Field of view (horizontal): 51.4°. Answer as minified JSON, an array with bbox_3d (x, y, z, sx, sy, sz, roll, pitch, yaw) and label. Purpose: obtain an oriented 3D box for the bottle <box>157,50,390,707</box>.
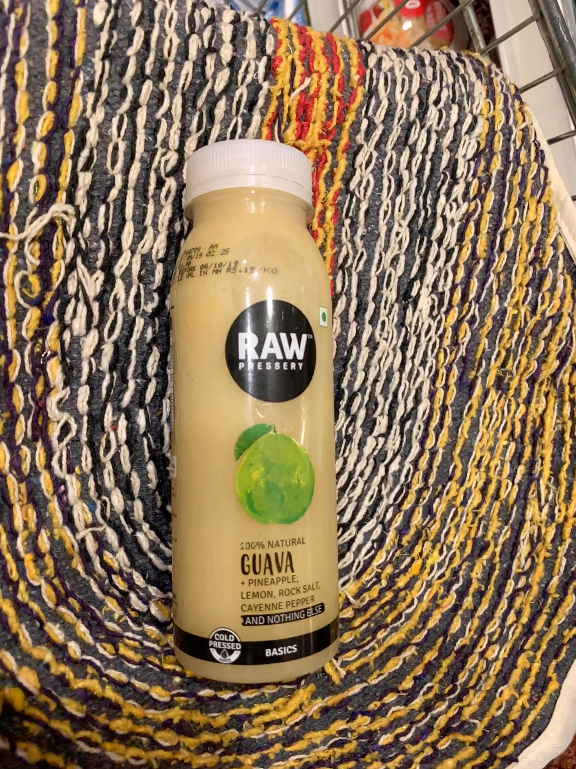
[{"bbox_3d":[-0.007,-0.003,0.173,0.050,0.040,0.160,-1,86,-21],"label":"bottle"}]
